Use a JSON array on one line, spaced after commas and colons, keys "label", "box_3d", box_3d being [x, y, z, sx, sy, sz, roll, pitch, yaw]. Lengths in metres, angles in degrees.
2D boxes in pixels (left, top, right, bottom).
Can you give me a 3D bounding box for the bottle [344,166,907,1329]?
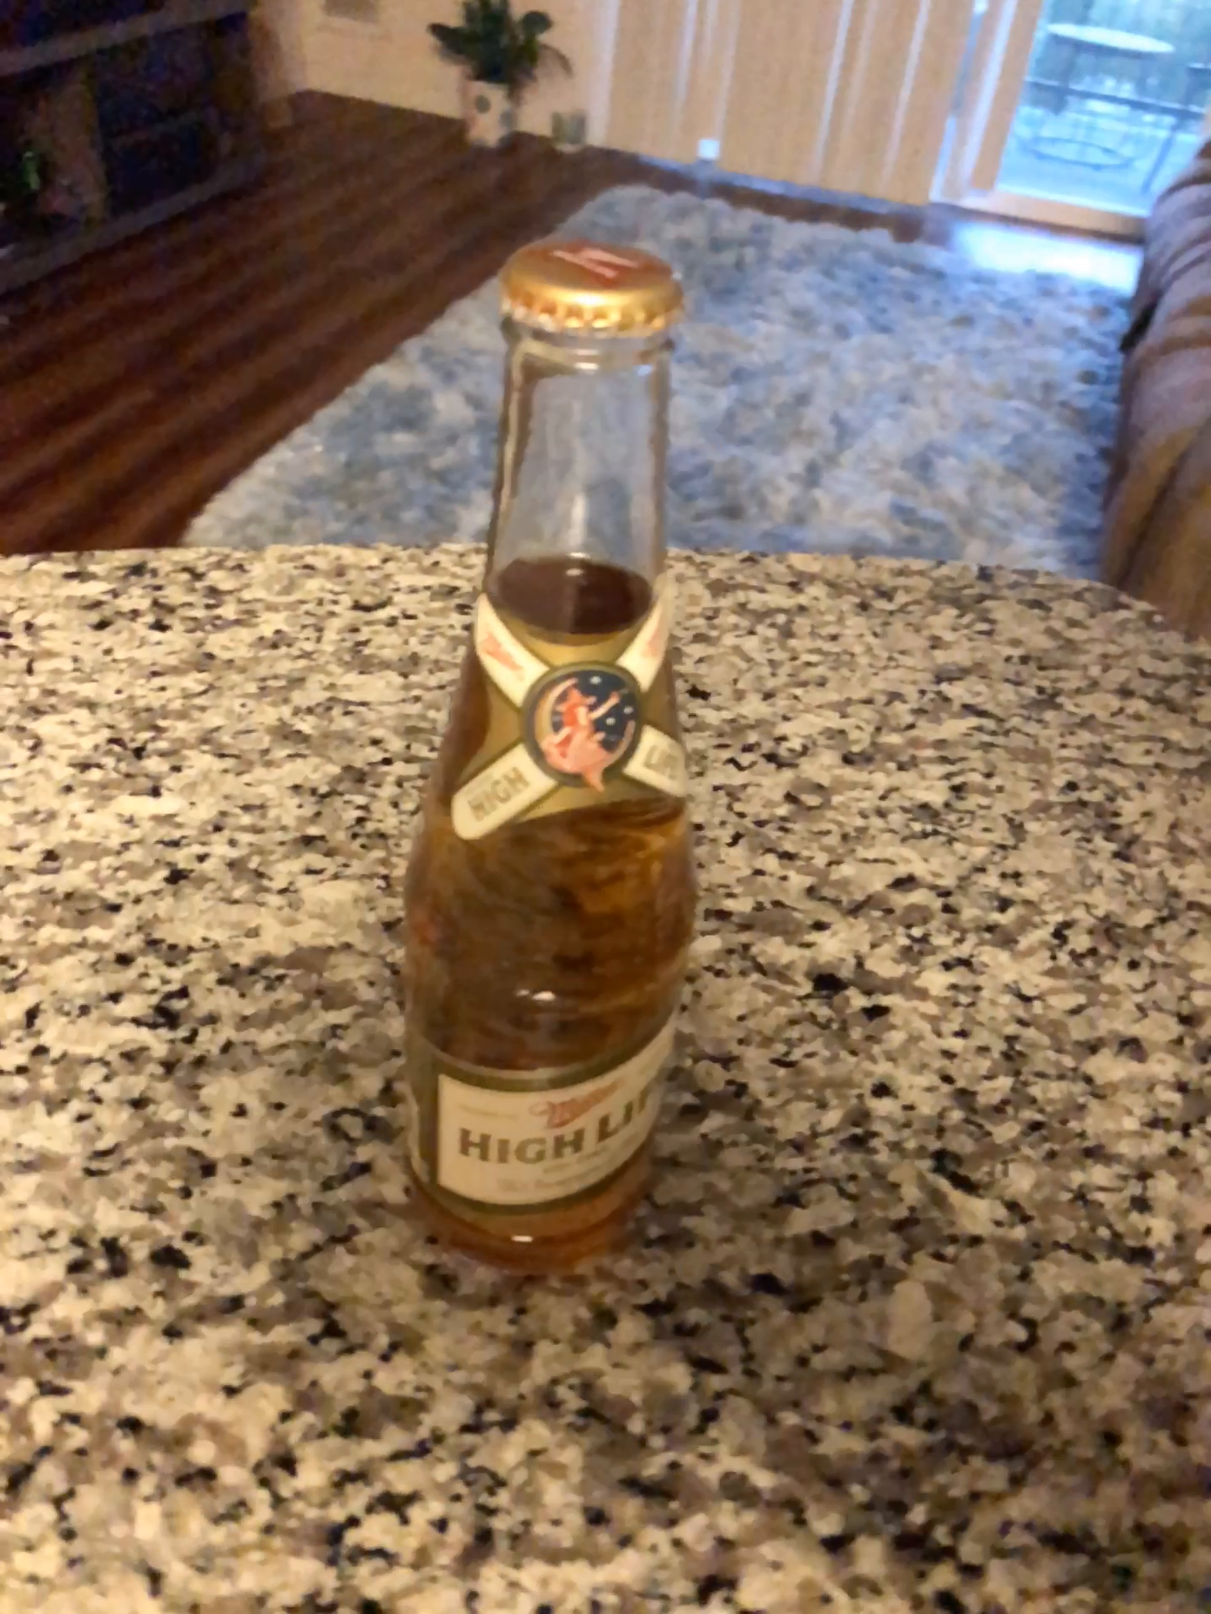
[{"label": "bottle", "box_3d": [-0.010, 0.004, 0.269, 0.060, 0.229, 0.070, -12, 43, -21]}]
